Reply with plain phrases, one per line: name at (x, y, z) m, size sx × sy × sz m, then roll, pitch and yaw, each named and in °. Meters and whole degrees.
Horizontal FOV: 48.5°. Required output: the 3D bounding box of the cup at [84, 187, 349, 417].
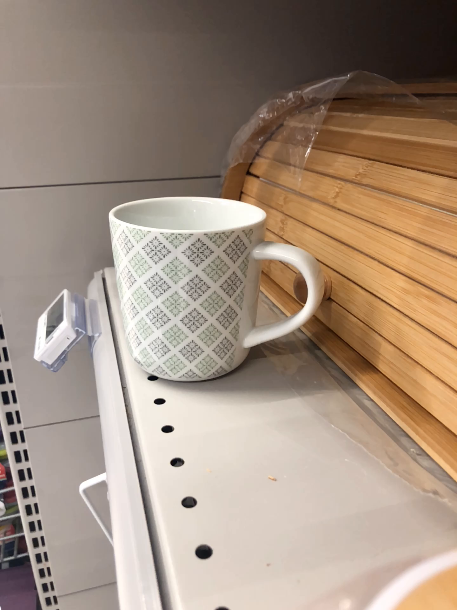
cup at (-0.003, -0.011, 0.291) m, size 0.118 × 0.090 × 0.086 m, roll 9°, pitch 24°, yaw 20°
